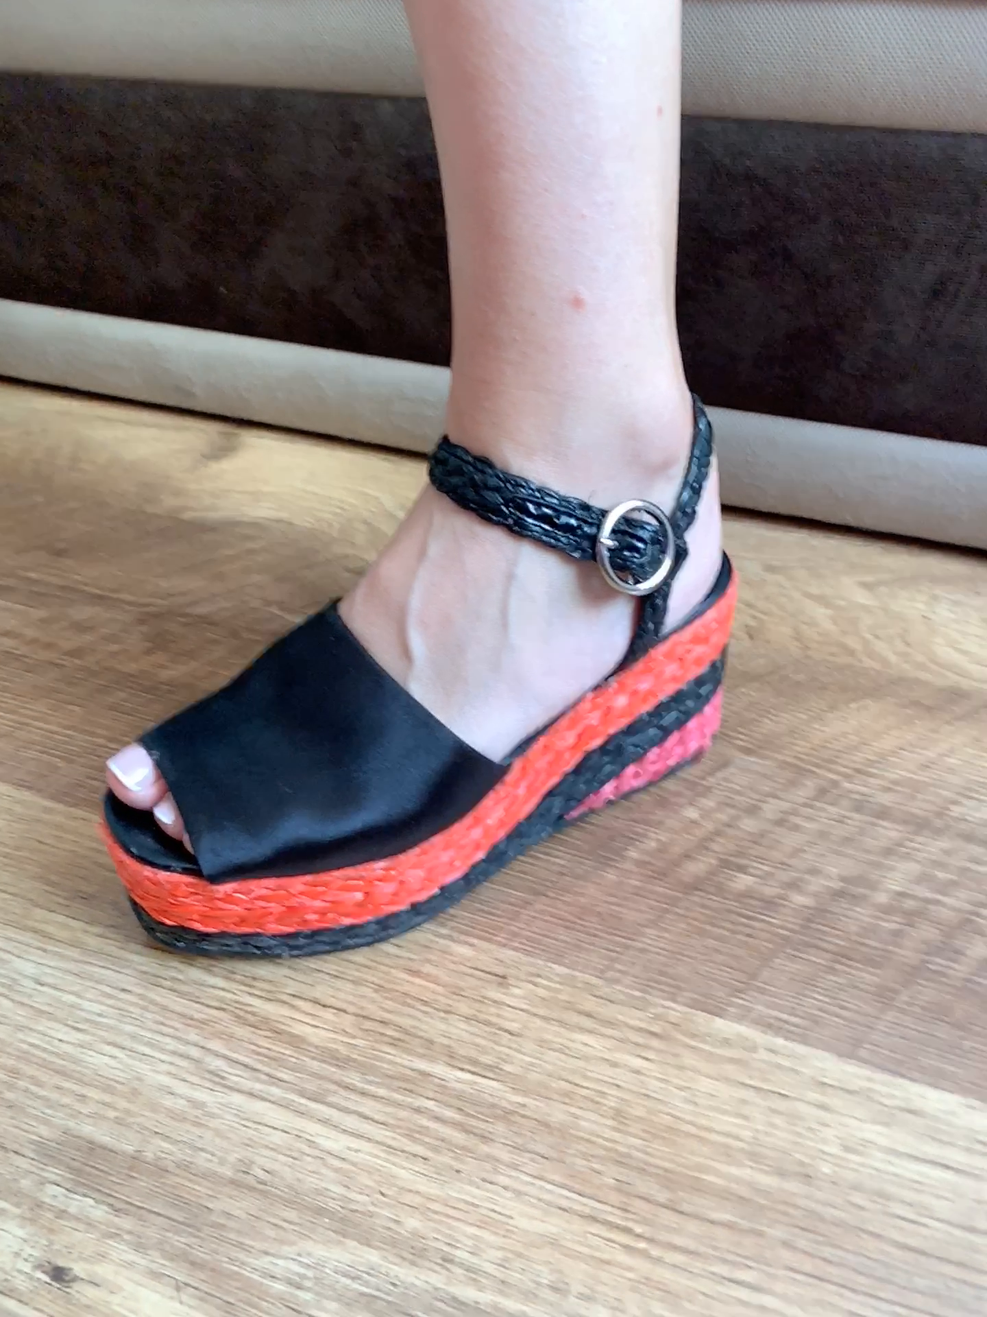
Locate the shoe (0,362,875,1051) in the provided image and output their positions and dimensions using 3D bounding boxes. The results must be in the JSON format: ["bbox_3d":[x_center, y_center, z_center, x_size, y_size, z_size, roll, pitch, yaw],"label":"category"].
[{"bbox_3d":[-0.010,0.004,0.335,0.240,0.124,0.089,-21,44,-21],"label":"shoe"}]
